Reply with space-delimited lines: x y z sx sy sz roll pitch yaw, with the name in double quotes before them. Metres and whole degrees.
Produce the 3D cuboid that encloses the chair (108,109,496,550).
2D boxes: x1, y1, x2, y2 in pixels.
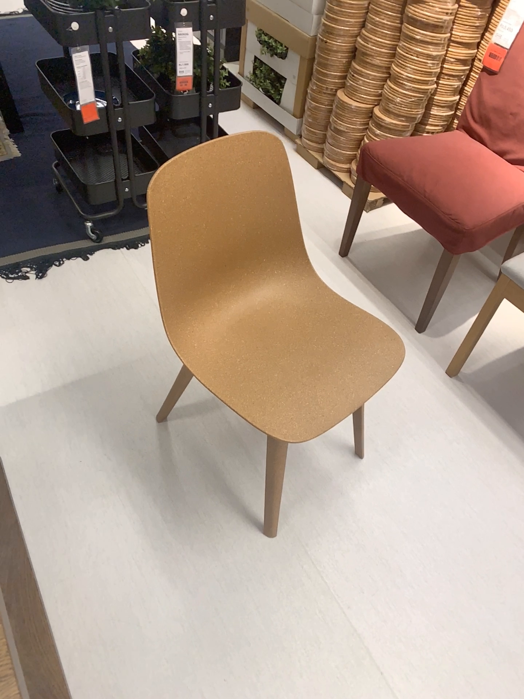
"chair" 0.036 -0.027 1.196 0.441 0.718 0.521 -33 60 -30
